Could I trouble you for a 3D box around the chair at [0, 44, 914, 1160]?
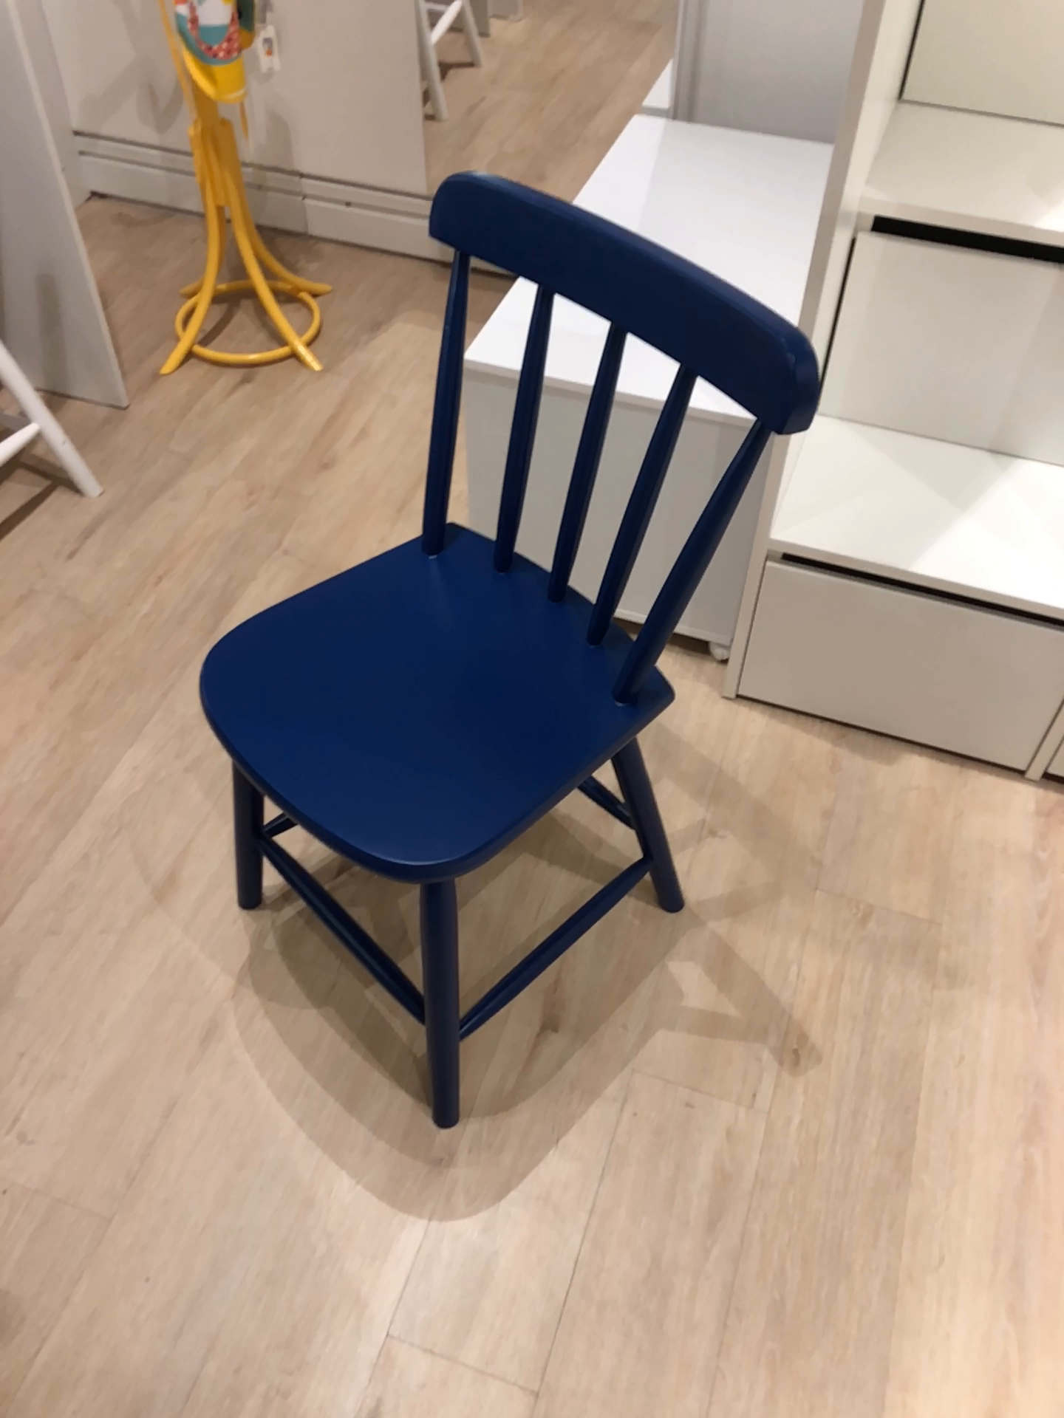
[{"bbox_3d":[-0.080,-0.059,1.094,0.482,0.805,0.461,-34,58,-26],"label":"chair"}]
